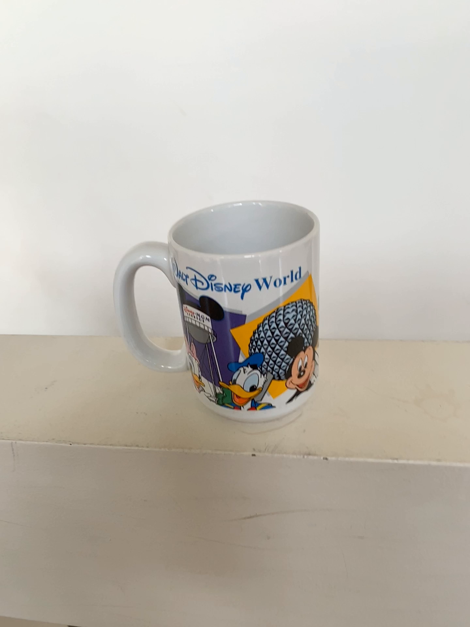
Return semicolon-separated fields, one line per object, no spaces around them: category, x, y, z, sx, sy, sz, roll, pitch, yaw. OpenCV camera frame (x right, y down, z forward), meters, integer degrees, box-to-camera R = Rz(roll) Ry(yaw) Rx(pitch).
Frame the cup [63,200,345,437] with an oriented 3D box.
cup;-0.009;-0.003;0.298;0.140;0.109;0.080;4;31;15
